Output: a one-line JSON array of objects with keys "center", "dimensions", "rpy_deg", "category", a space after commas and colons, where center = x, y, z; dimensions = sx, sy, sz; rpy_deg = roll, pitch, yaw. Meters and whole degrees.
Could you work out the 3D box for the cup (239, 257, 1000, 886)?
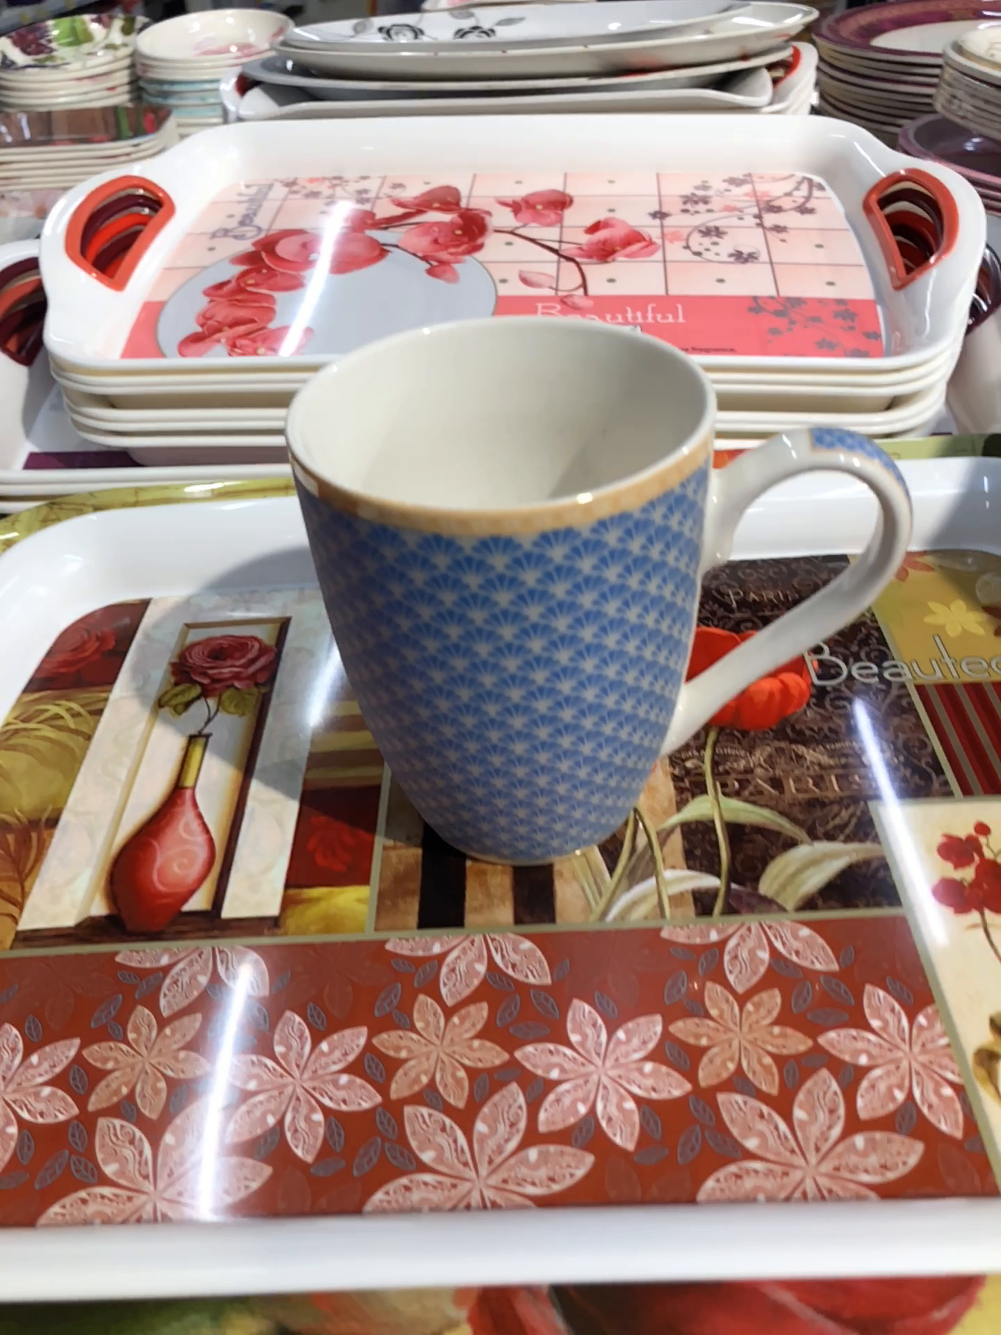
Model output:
[{"center": [0.020, -0.021, 0.234], "dimensions": [0.120, 0.099, 0.081], "rpy_deg": [-3, 36, 0], "category": "cup"}]
